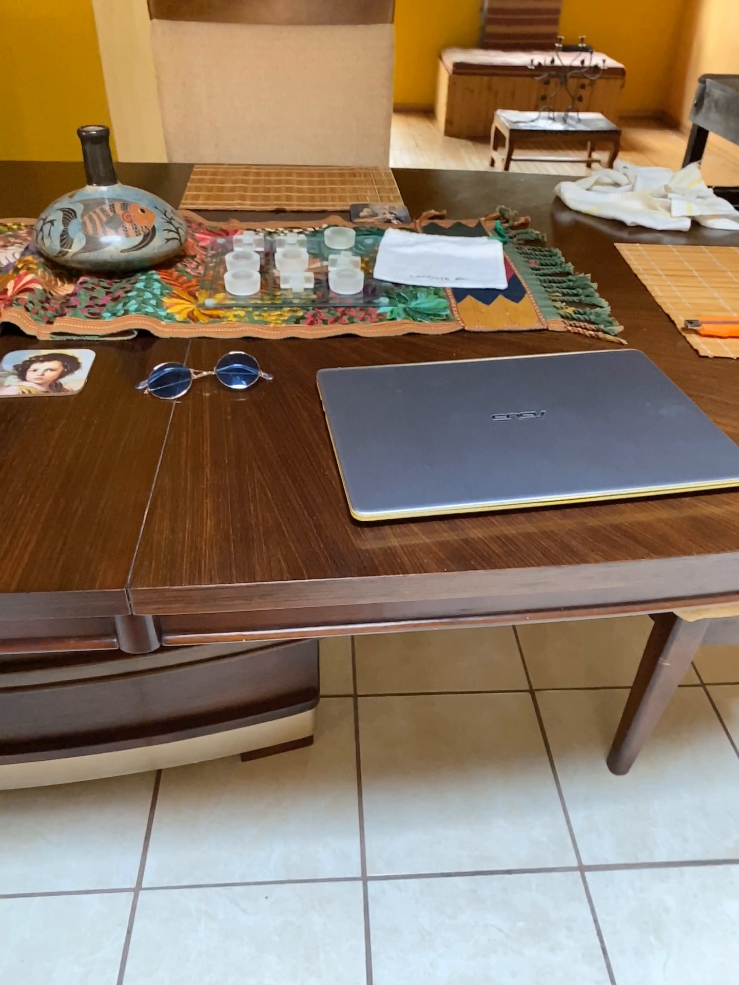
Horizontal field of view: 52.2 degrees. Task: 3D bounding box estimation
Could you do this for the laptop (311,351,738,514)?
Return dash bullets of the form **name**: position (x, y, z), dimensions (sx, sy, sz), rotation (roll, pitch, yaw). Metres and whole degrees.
- **laptop**: position (0.144, -0.075, 0.771), dimensions (0.383, 0.001, 0.247), rotation (-5, 38, -10)
